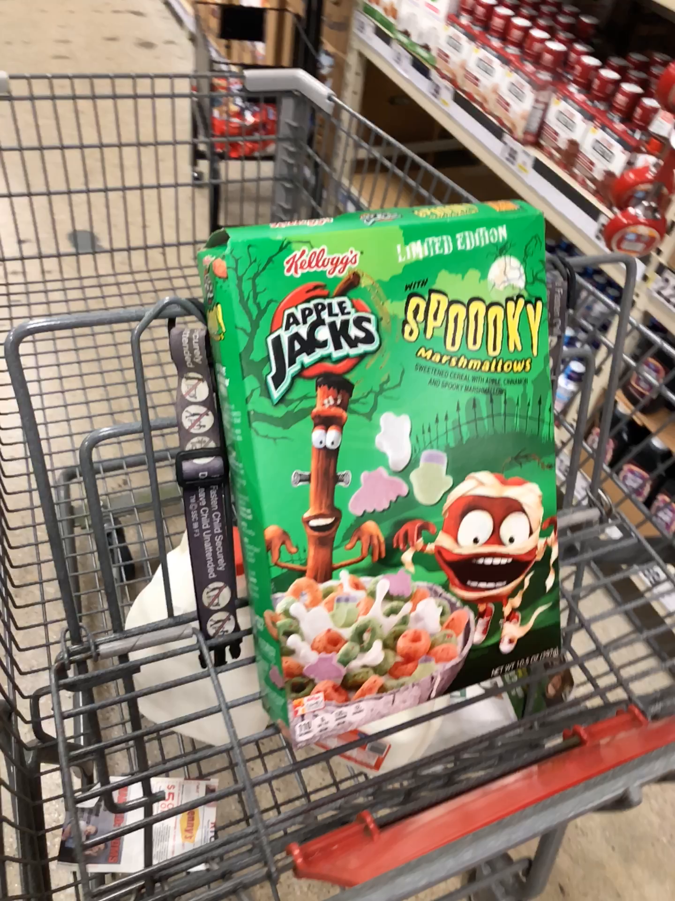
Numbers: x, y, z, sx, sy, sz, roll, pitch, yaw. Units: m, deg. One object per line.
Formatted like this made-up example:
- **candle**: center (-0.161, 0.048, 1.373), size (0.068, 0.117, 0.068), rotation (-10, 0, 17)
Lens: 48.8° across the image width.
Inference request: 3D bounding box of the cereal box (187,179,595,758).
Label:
- **cereal box**: center (0.041, 0.002, 0.428), size (0.200, 0.280, 0.070), rotation (-12, 15, -21)
